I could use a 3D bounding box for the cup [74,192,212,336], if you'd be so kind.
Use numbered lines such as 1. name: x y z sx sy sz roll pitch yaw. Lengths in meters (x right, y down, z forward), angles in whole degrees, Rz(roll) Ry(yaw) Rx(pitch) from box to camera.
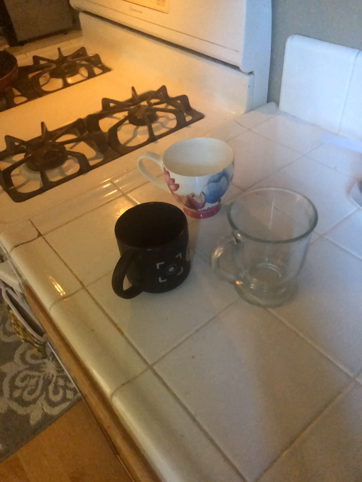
1. cup: -0.041 0.025 0.504 0.100 0.089 0.131 29 54 30

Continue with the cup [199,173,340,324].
1. cup: 0.095 0.009 0.471 0.120 0.119 0.101 -13 45 -7

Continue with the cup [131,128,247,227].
1. cup: 0.017 -0.102 0.612 0.140 0.079 0.111 13 48 19
